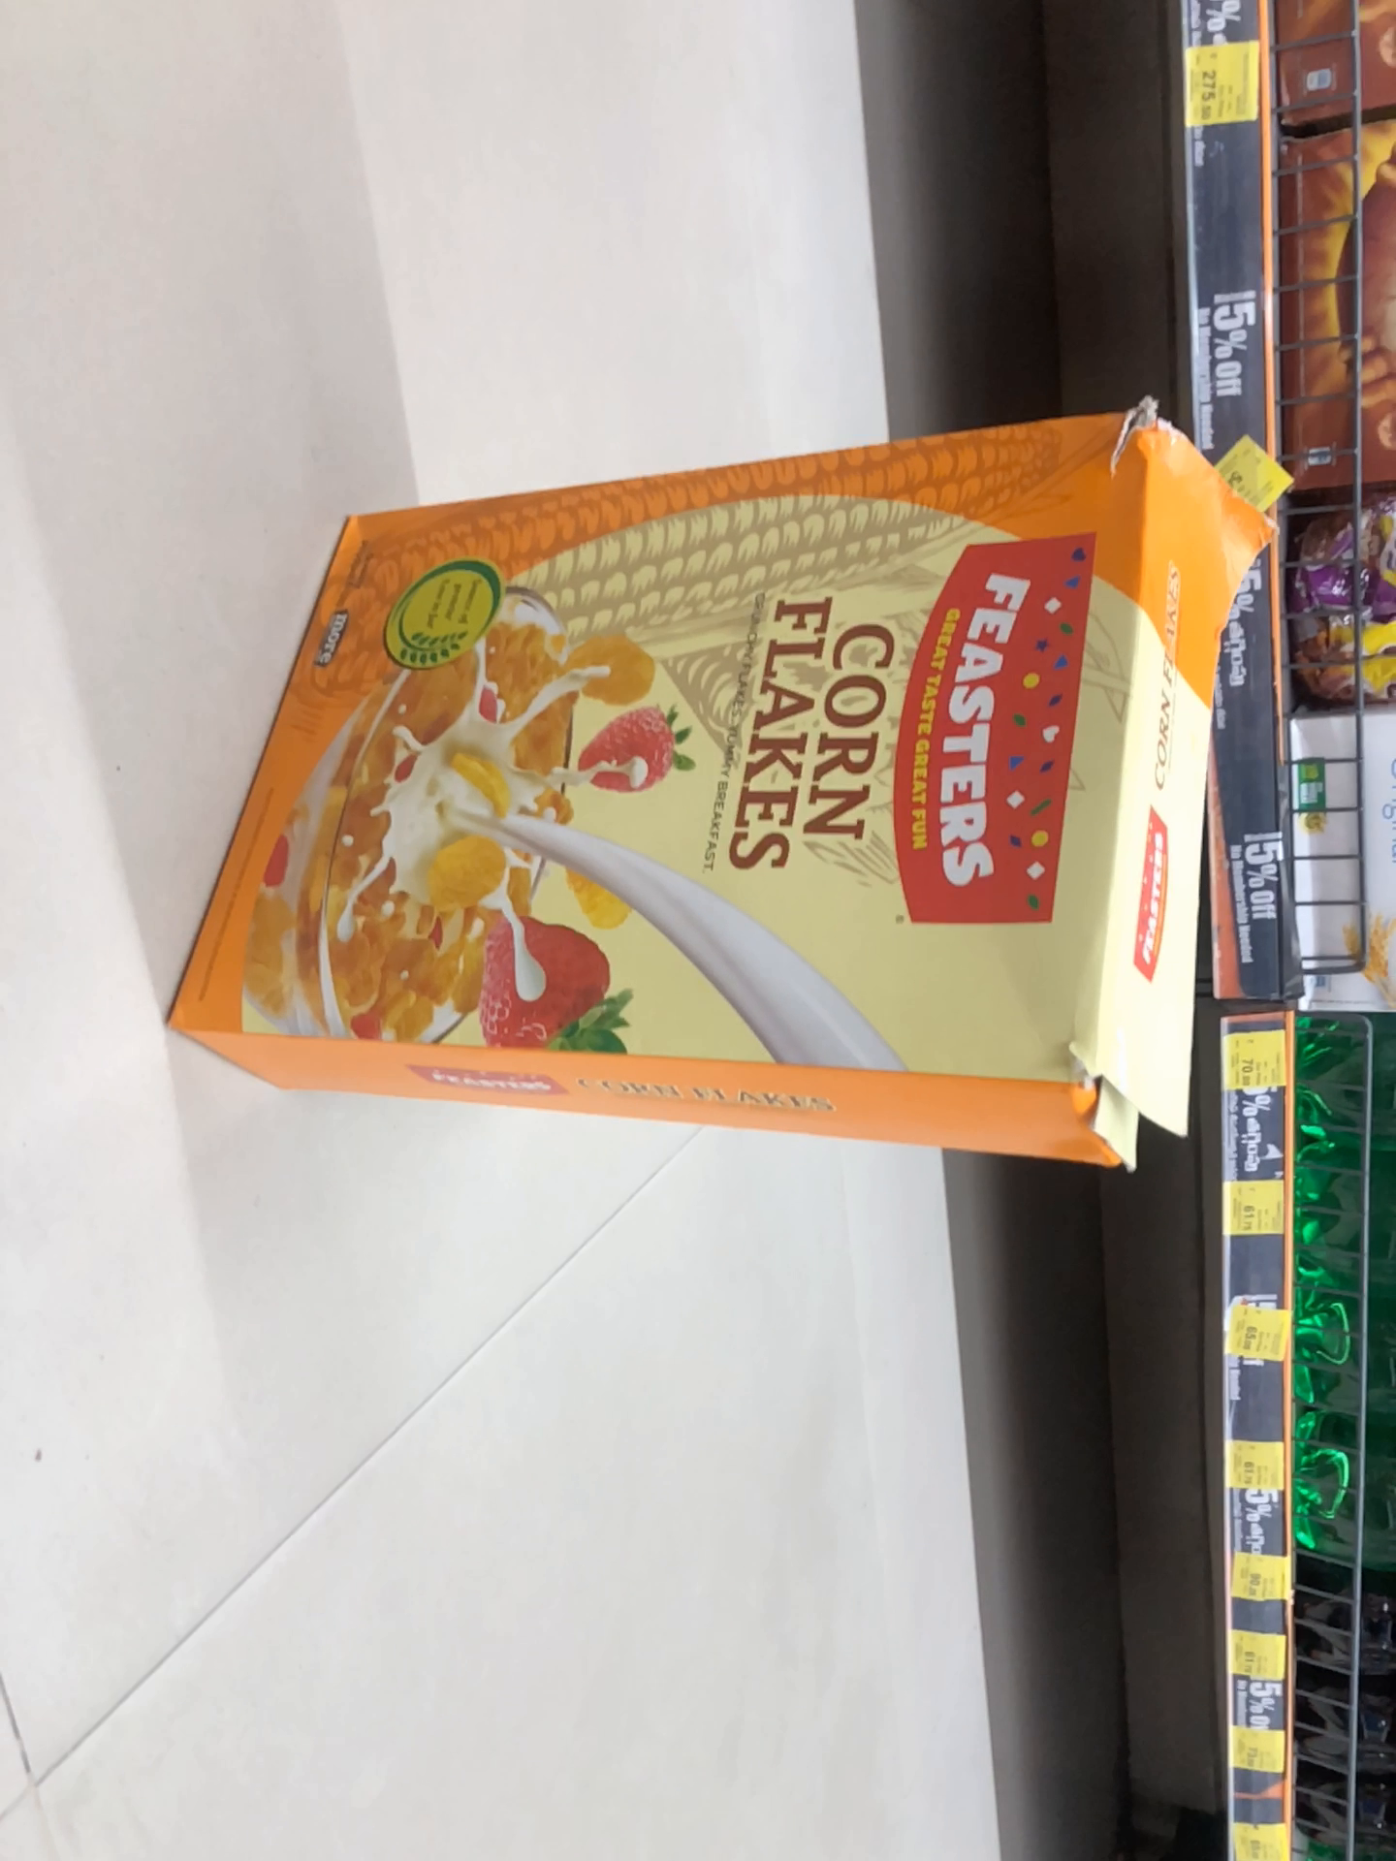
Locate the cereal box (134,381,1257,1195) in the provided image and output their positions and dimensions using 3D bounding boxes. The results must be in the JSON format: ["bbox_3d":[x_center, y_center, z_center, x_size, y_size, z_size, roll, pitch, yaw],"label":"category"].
[{"bbox_3d":[0.004,-0.039,0.418,0.060,0.268,0.190,54,43,-55],"label":"cereal box"}]
